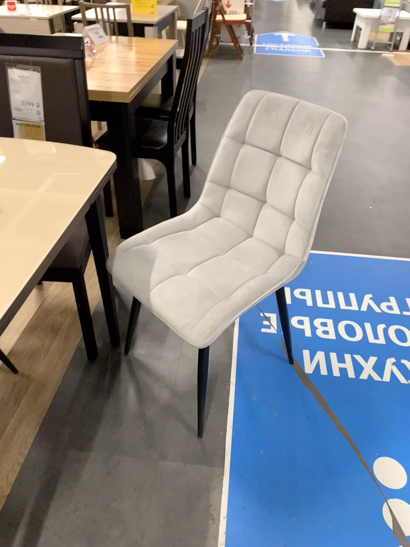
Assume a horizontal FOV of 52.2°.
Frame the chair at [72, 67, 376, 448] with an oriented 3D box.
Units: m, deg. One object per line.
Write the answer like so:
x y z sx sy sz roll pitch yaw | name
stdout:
0.043 -0.050 1.359 0.602 0.974 0.481 -27 47 -32 | chair
